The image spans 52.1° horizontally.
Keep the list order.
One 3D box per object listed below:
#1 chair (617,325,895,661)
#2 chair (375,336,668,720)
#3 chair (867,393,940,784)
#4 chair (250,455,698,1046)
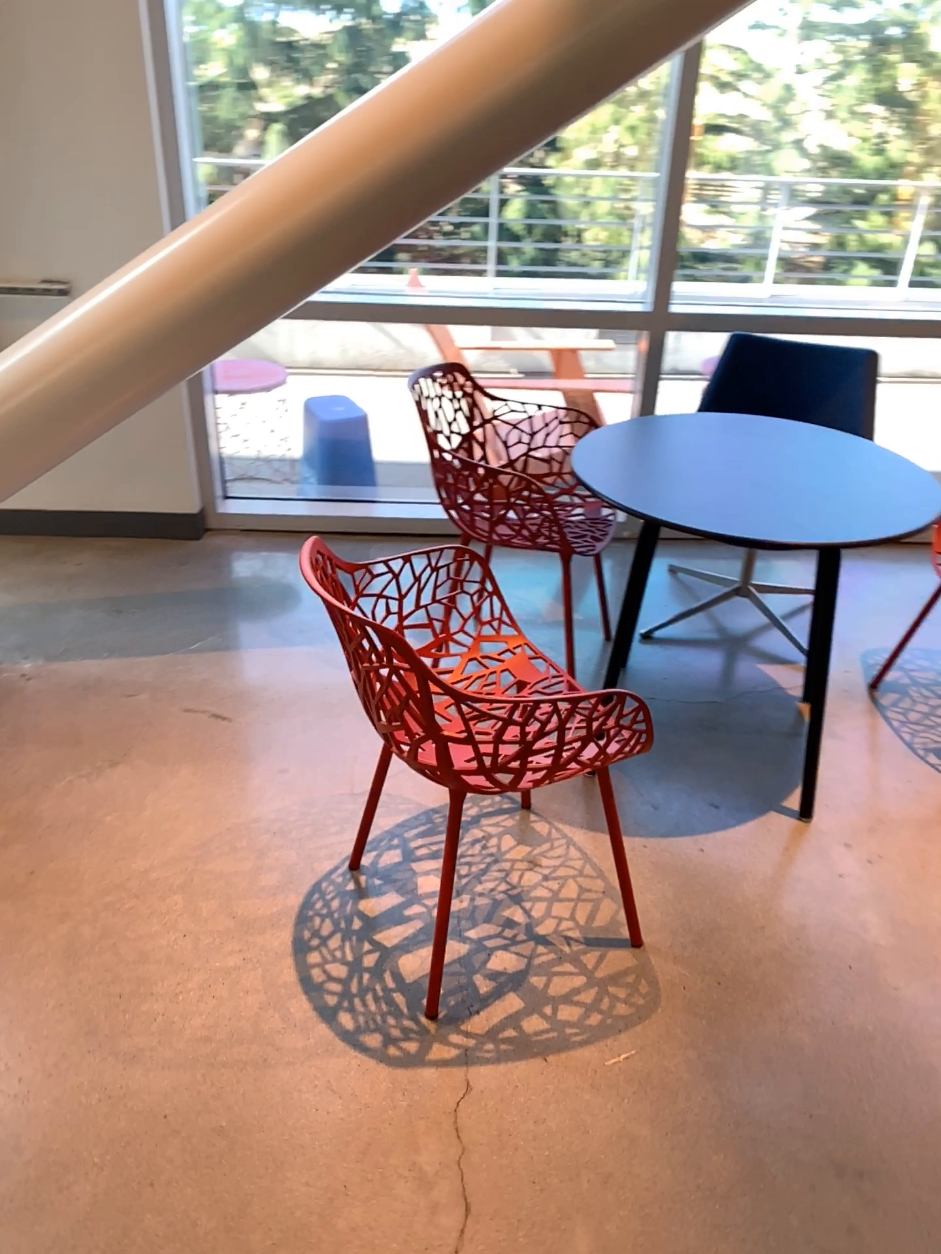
[{"bbox_3d":[0.829,-0.418,2.846,0.561,0.766,0.512,16,32,24],"label":"chair"},{"bbox_3d":[0.129,-0.289,2.535,0.531,0.766,0.562,16,32,23],"label":"chair"},{"bbox_3d":[1.428,-0.102,2.321,0.560,0.766,0.553,1,29,-3],"label":"chair"},{"bbox_3d":[-0.035,0.178,1.722,0.530,0.766,0.563,-11,31,-22],"label":"chair"}]
